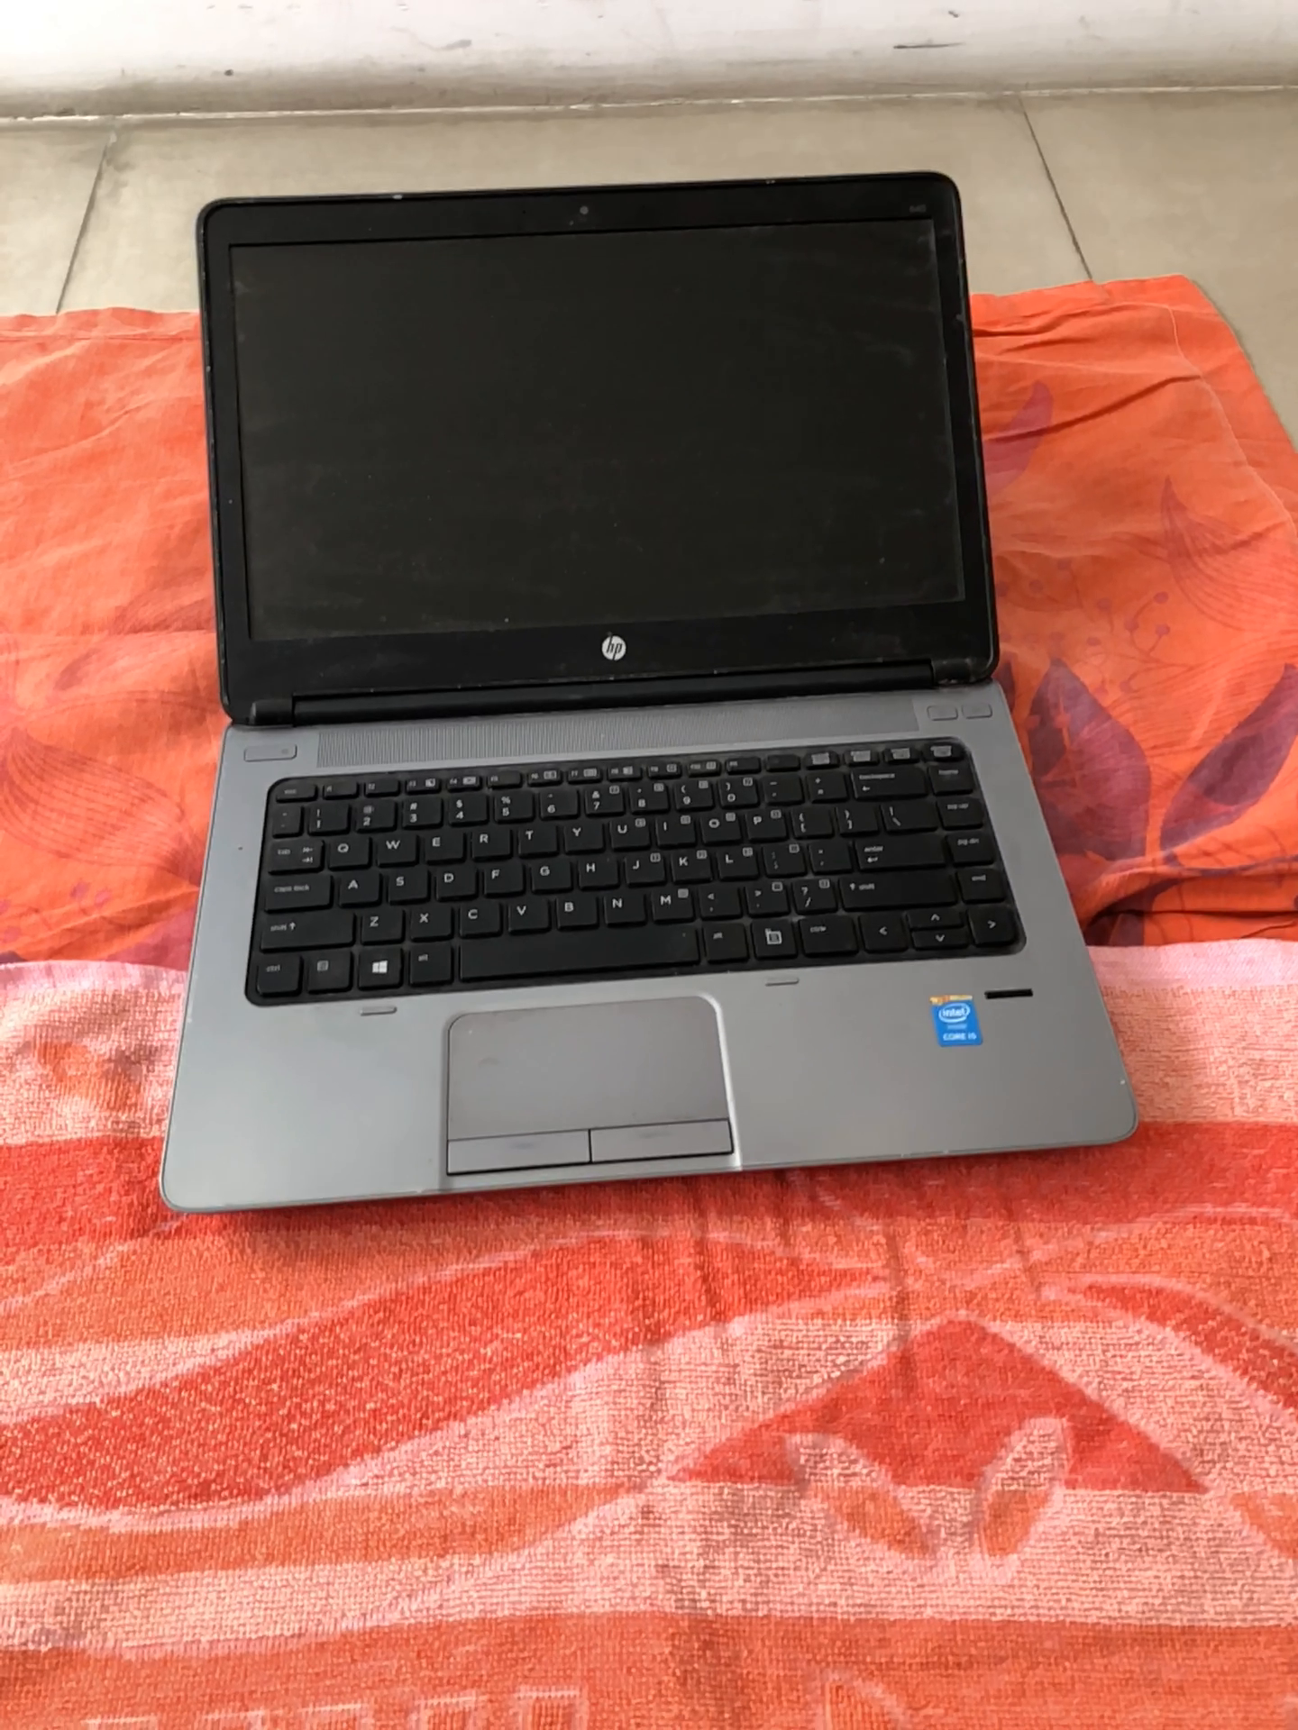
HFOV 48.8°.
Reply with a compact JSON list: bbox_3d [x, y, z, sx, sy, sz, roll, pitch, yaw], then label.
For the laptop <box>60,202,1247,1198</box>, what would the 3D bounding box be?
[{"bbox_3d":[-0.010,-0.095,0.561,0.328,0.111,0.412,-3,54,-3],"label":"laptop"}]
